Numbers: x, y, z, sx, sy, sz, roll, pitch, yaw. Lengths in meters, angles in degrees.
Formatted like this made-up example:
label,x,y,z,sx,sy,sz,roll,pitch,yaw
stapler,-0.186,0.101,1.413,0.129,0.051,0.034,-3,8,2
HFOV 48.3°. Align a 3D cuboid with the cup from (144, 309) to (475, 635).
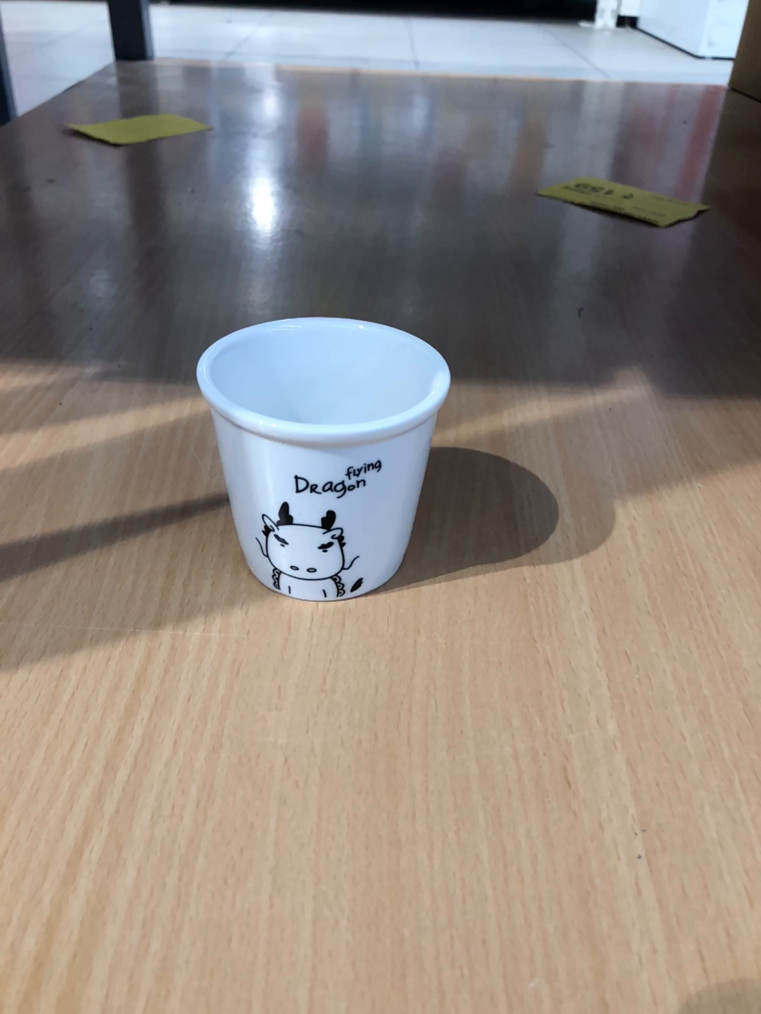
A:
label,x,y,z,sx,sy,sz,roll,pitch,yaw
cup,-0.017,-0.014,0.254,0.080,0.060,0.081,2,35,-1
